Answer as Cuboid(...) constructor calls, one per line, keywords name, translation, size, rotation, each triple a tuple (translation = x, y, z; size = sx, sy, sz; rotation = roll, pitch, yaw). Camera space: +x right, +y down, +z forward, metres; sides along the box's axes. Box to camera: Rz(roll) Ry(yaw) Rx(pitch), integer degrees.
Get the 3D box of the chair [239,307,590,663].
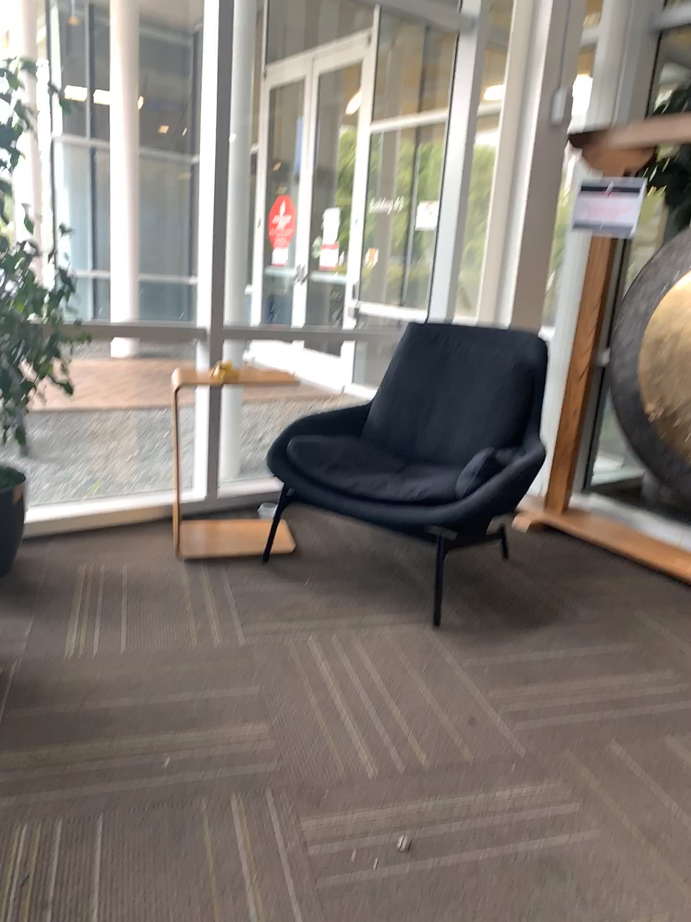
Cuboid(name="chair", translation=(0.269, -0.033, 2.658), size=(0.902, 0.996, 0.941), rotation=(13, 17, 31))
